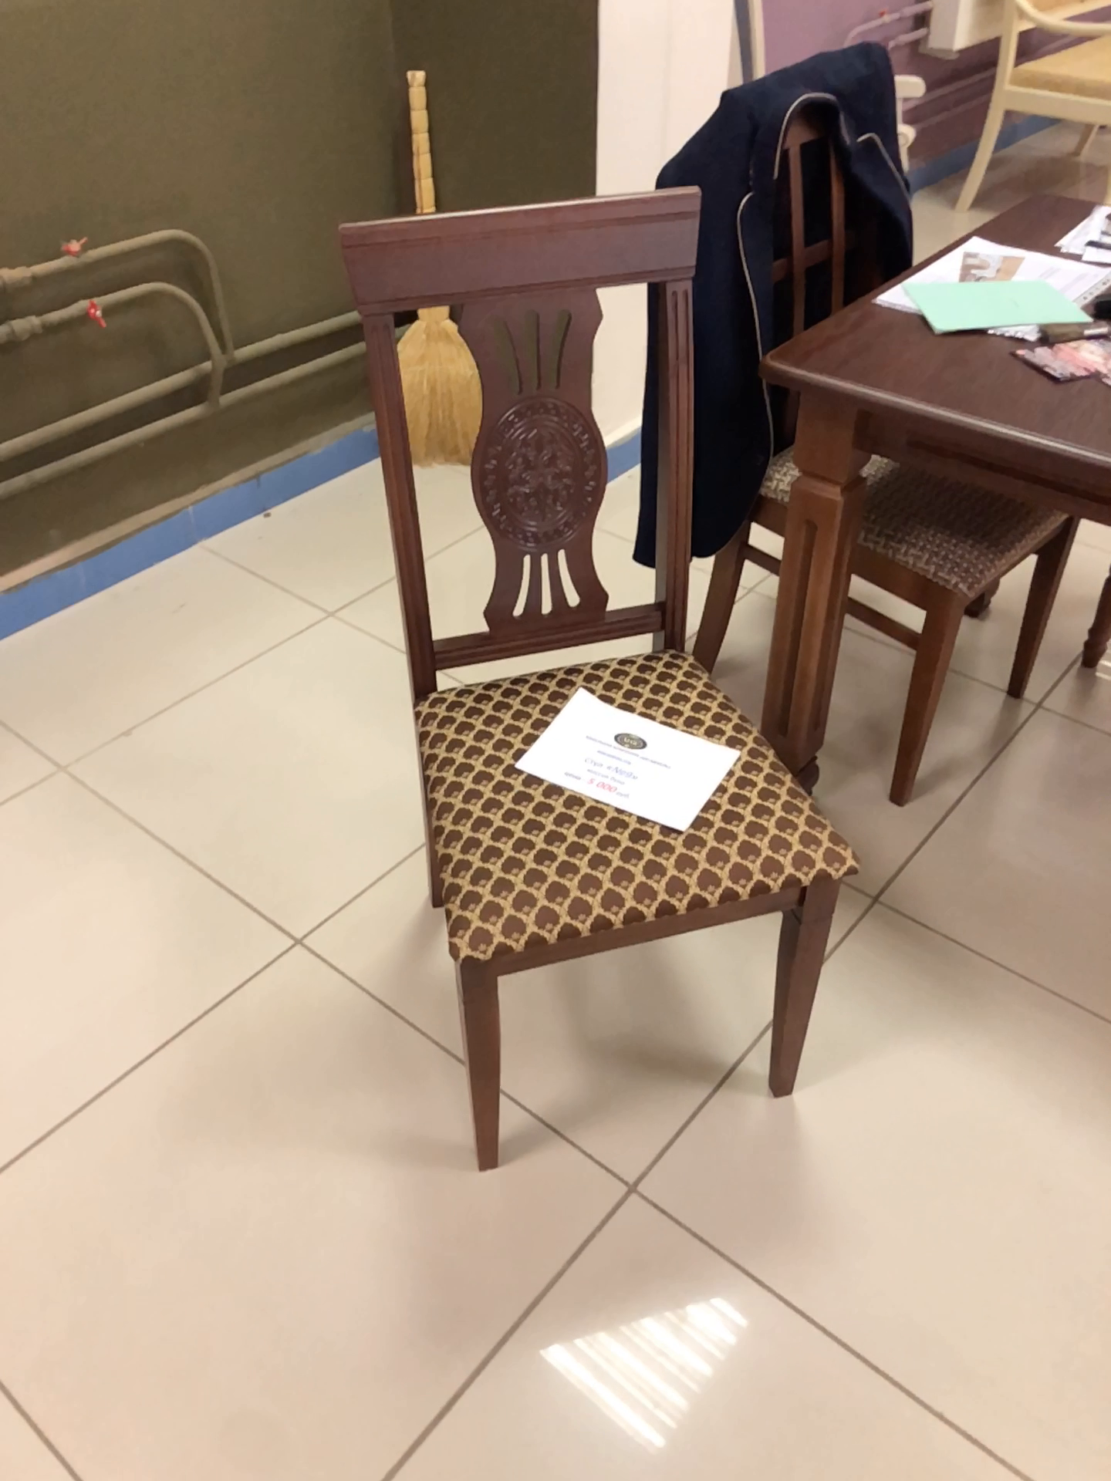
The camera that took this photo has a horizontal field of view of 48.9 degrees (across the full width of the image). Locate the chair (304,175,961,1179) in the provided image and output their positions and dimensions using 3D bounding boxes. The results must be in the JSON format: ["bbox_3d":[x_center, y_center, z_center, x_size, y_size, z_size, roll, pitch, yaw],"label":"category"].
[{"bbox_3d":[0.036,-0.040,1.337,0.435,0.935,0.472,-10,40,-12],"label":"chair"}]

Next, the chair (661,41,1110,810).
[{"bbox_3d":[0.507,-0.468,1.869,0.491,0.955,0.431,29,48,32],"label":"chair"}]
